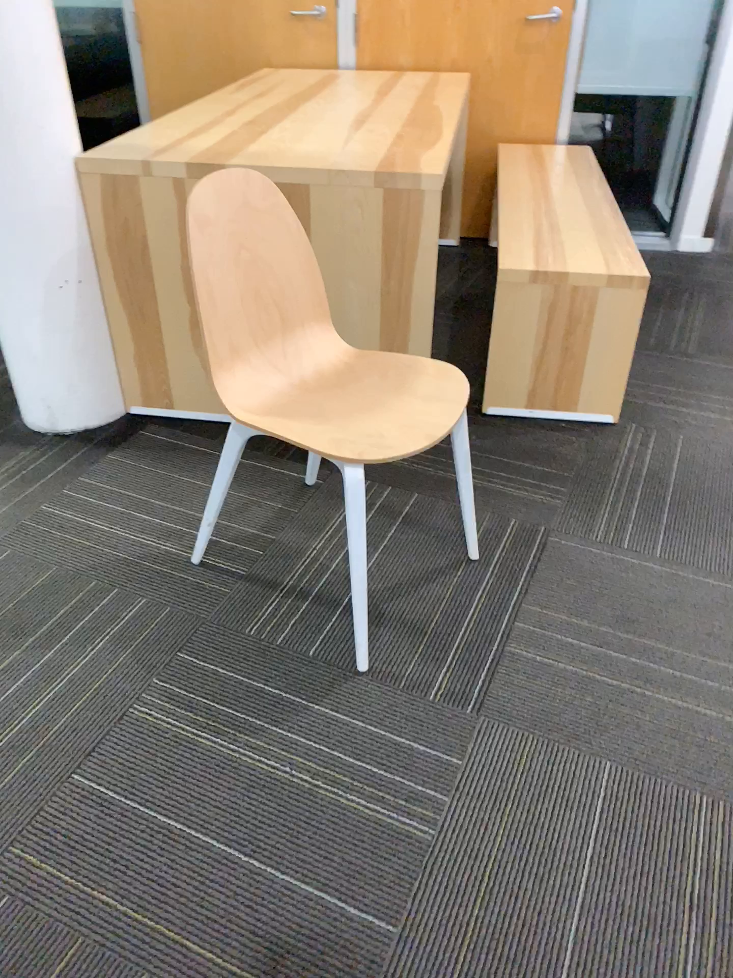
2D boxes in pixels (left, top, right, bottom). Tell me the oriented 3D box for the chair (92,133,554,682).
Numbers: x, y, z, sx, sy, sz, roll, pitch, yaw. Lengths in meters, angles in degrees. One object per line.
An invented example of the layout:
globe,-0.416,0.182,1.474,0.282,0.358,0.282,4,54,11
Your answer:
chair,-0.062,-0.193,1.501,0.562,0.815,0.552,23,41,29
